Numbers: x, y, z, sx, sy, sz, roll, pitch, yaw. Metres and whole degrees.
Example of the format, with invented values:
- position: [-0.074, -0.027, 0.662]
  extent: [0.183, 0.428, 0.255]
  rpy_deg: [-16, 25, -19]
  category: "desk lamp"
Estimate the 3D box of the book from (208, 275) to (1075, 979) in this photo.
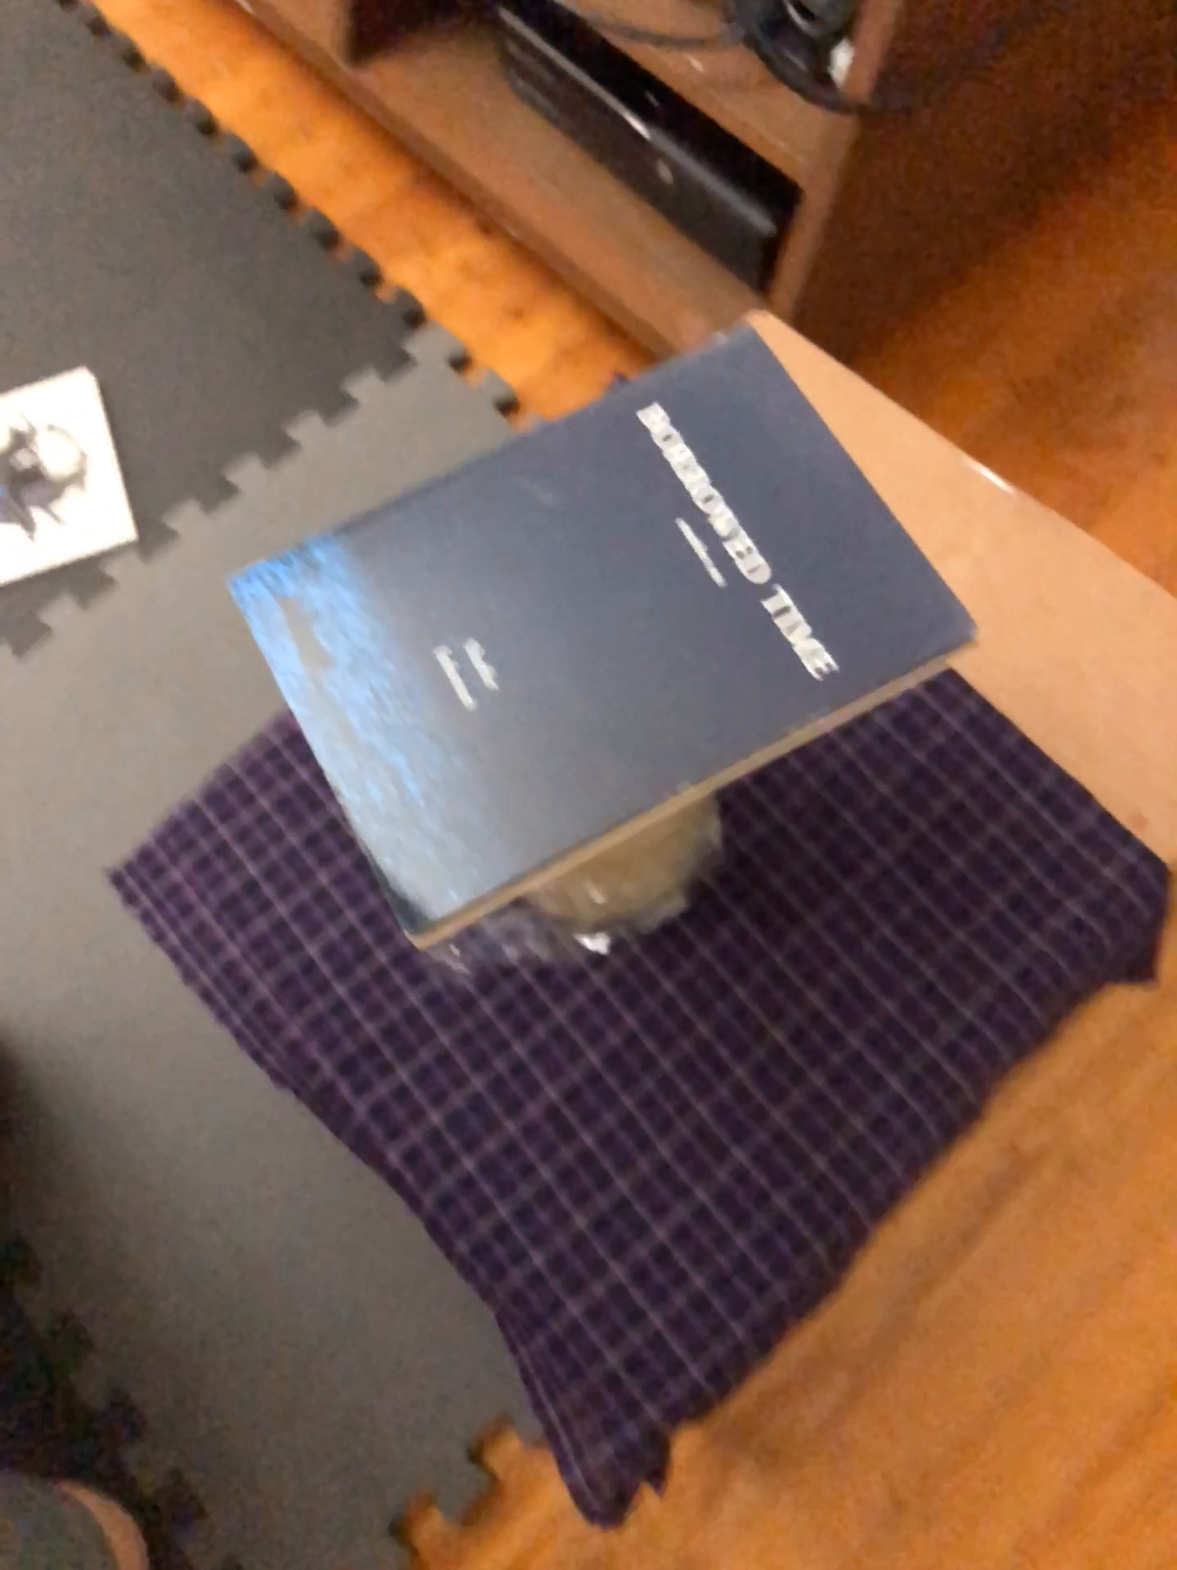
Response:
- position: [0.015, -0.062, 0.425]
  extent: [0.230, 0.010, 0.160]
  rpy_deg: [-27, 70, -9]
  category: "book"
